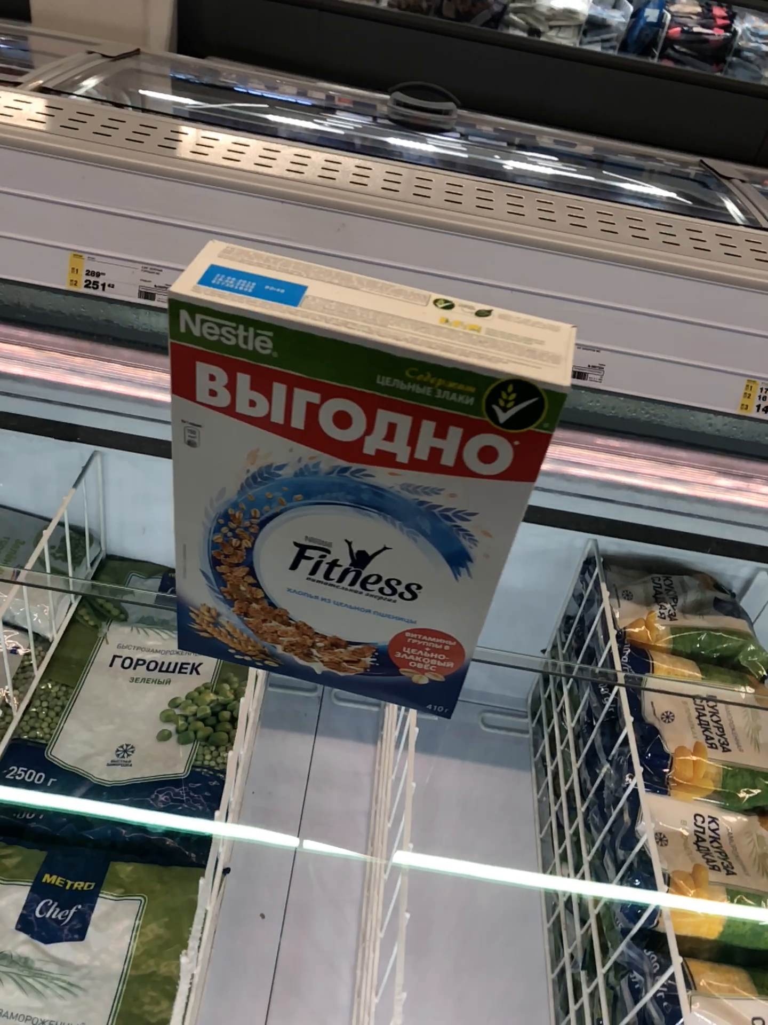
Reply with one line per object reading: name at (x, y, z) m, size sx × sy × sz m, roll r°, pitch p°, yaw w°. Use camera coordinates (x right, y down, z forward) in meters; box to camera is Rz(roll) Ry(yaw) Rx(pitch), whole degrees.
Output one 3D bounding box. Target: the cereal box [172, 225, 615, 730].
cereal box at (-0.010, -0.001, 0.481) m, size 0.200 × 0.268 × 0.060 m, roll 14°, pitch 42°, yaw 3°
